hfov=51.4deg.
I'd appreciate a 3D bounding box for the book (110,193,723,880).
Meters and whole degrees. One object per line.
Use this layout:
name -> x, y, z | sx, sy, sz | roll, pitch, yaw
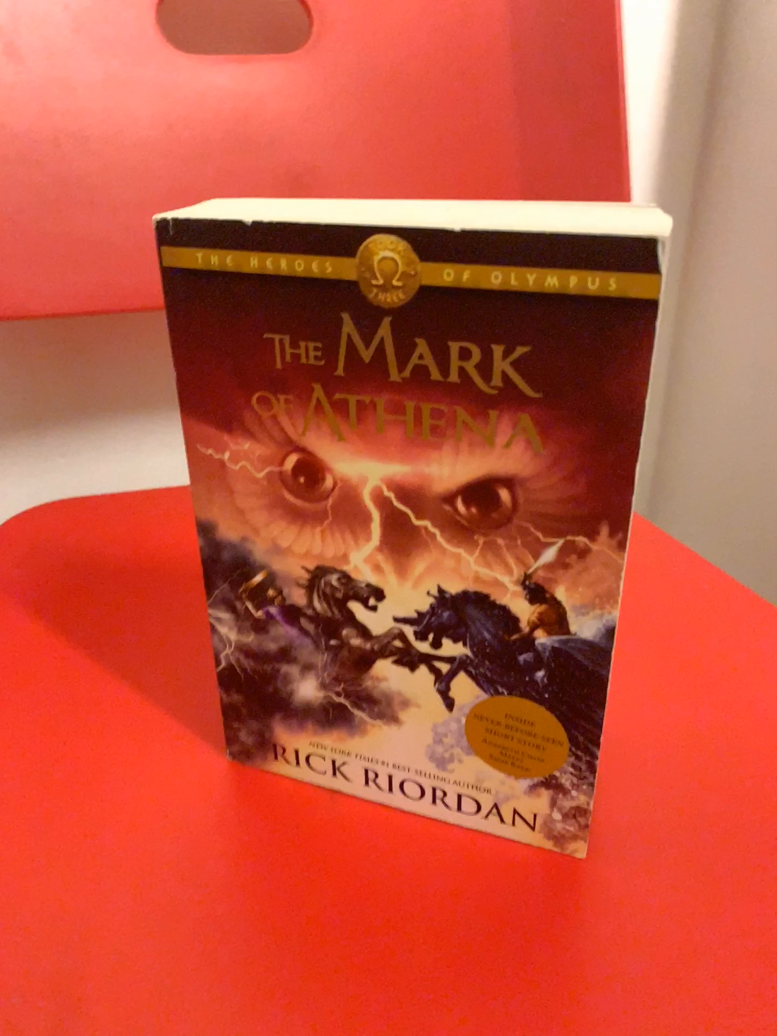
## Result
book -> 0.009, 0.008, 0.251 | 0.139, 0.193, 0.061 | 6, 29, 12
